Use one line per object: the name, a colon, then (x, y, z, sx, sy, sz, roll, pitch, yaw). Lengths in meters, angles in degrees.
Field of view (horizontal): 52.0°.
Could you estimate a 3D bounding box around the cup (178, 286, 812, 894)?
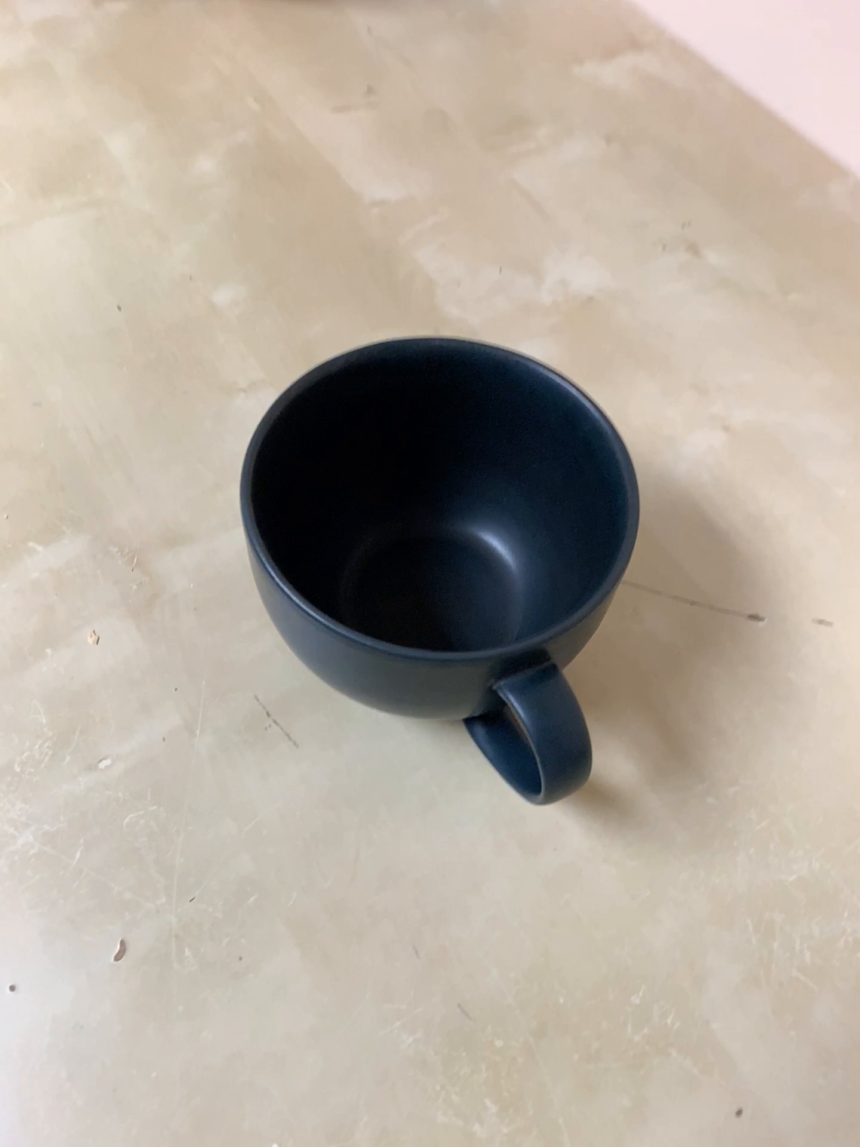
cup: (0.014, -0.003, 0.305, 0.135, 0.068, 0.159, -25, 63, -18)
